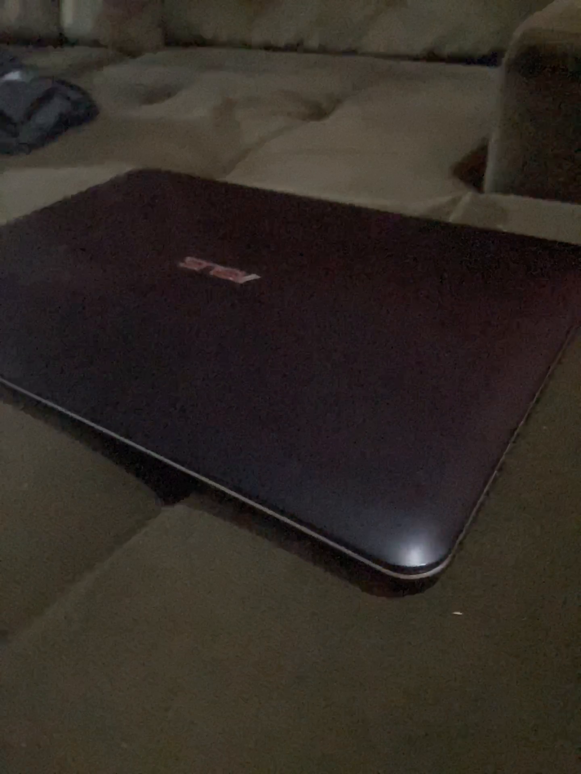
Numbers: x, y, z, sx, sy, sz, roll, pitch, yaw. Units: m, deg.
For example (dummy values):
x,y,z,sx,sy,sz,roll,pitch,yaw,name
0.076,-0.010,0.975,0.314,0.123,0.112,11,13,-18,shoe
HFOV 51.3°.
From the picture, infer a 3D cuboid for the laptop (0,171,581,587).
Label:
x,y,z,sx,sy,sz,roll,pitch,yaw,name
-0.050,-0.061,0.351,0.370,0.004,0.235,21,45,29,laptop
